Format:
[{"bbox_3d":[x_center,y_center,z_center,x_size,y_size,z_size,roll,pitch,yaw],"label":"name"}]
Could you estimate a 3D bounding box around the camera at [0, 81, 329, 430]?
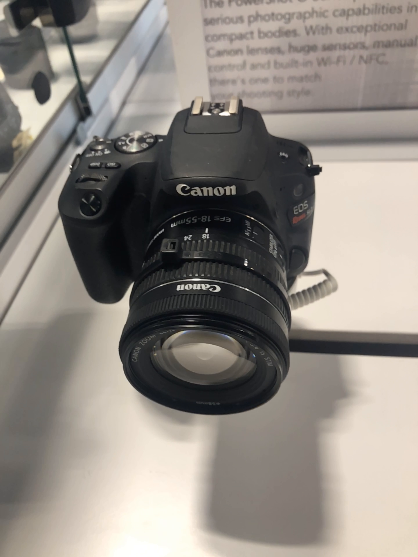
[{"bbox_3d":[-0.017,-0.012,0.209,0.122,0.099,0.111,1,46,9],"label":"camera"}]
